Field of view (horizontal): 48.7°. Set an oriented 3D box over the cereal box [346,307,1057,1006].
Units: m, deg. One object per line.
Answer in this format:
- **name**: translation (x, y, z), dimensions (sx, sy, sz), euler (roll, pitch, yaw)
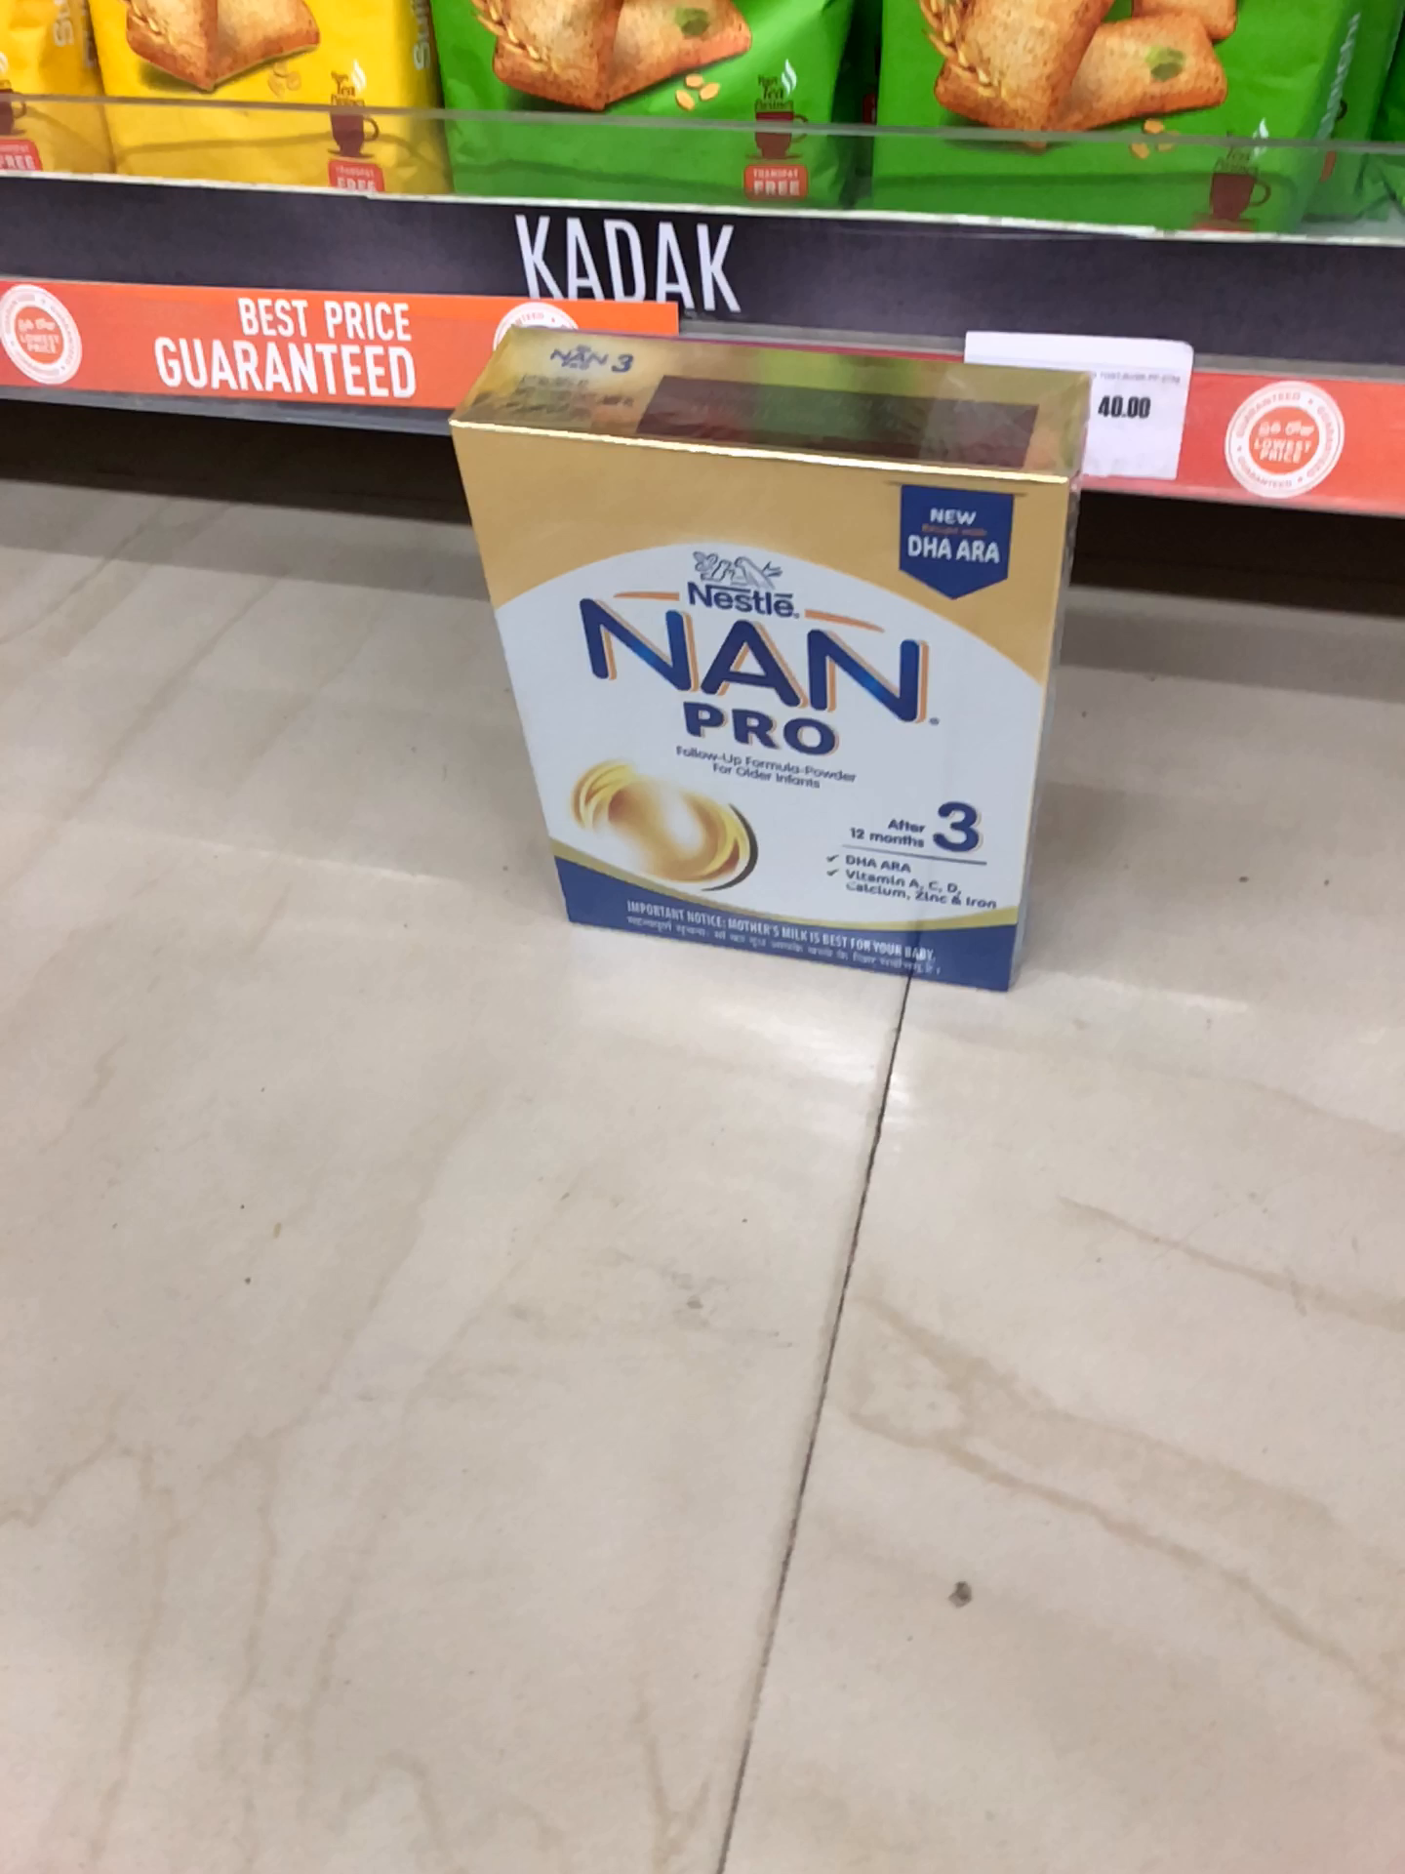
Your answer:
- **cereal box**: translation (0.007, -0.070, 0.437), dimensions (0.160, 0.189, 0.050), euler (9, 52, 13)
